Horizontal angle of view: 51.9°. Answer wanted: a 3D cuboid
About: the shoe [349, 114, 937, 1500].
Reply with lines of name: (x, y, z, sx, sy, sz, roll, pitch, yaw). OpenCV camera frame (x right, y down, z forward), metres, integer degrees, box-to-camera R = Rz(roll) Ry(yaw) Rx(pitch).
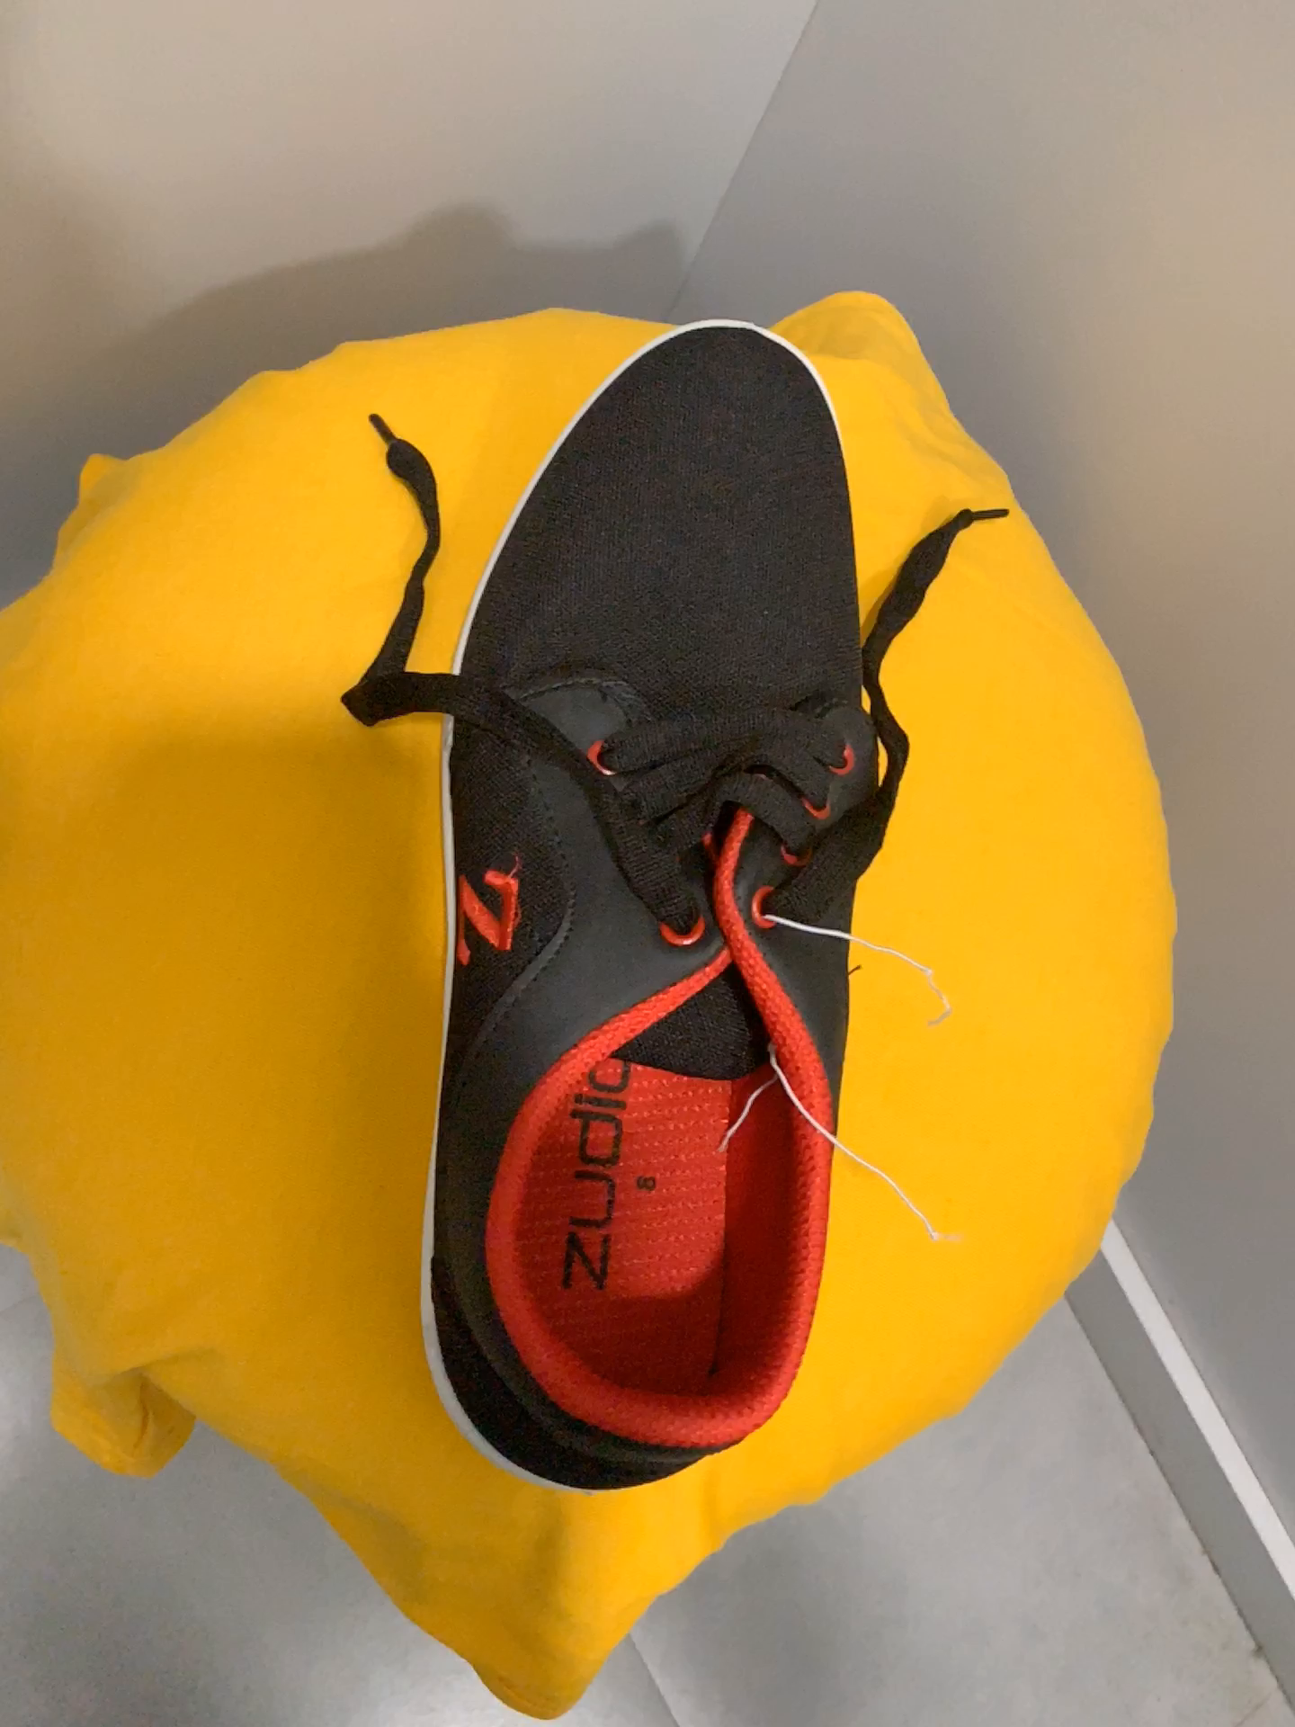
shoe: (-0.003, -0.011, 0.311, 0.090, 0.100, 0.270, 8, 78, -13)
